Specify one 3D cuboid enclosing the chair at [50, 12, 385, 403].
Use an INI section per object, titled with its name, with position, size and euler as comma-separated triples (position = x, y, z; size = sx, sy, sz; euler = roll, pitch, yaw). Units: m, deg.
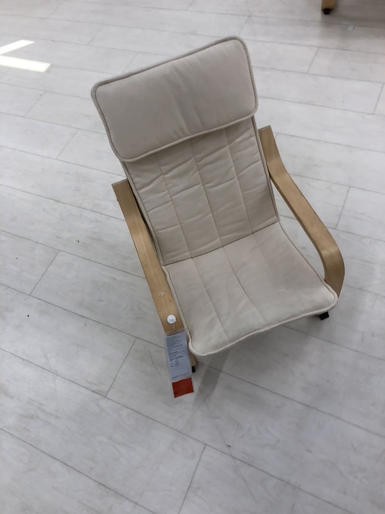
[chair]
position = 0.073, -0.077, 1.100
size = 0.530, 0.688, 0.561
euler = -22, 57, -4
